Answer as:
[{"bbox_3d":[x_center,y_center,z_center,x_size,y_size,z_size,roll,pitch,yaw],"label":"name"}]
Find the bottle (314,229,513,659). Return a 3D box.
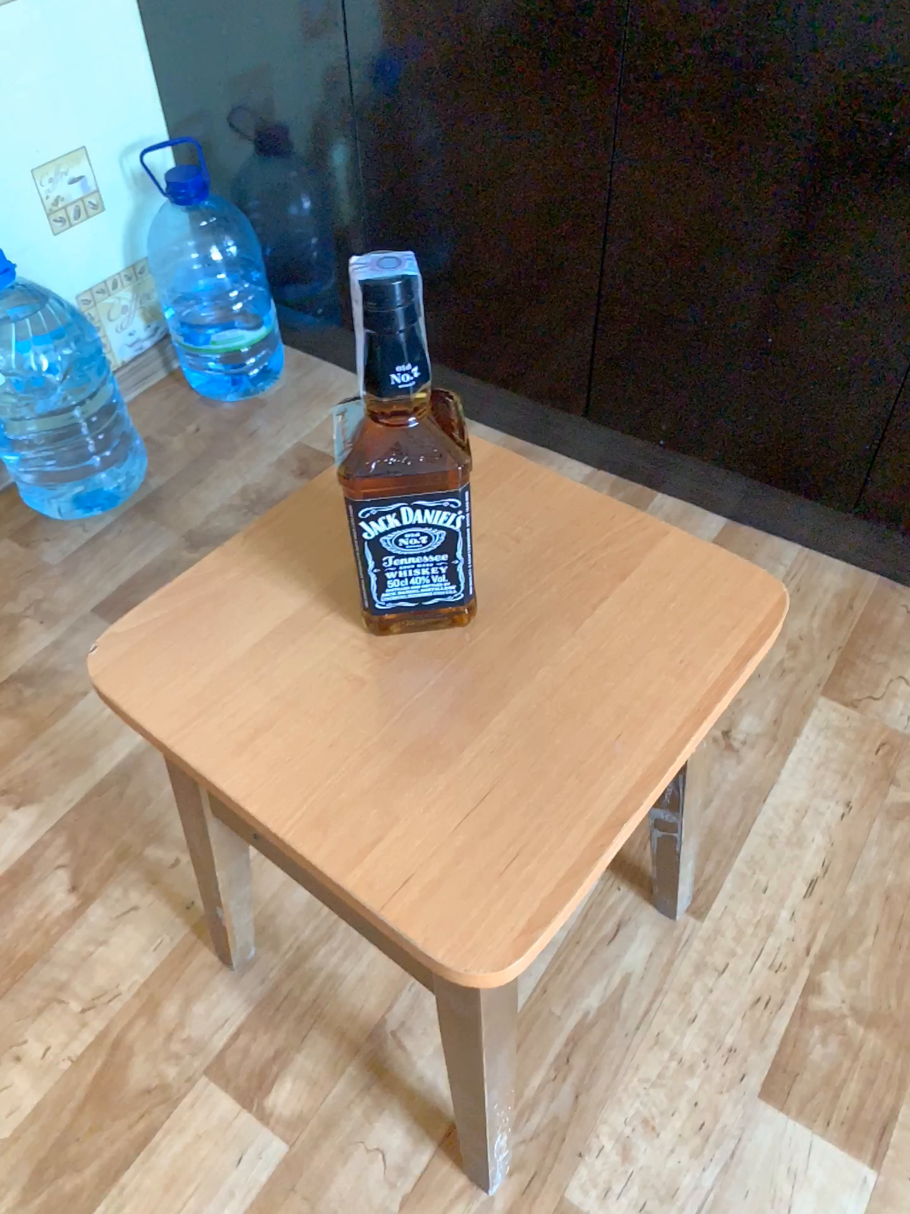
[{"bbox_3d":[-0.019,-0.074,0.489,0.080,0.209,0.080,-1,47,1],"label":"bottle"}]
